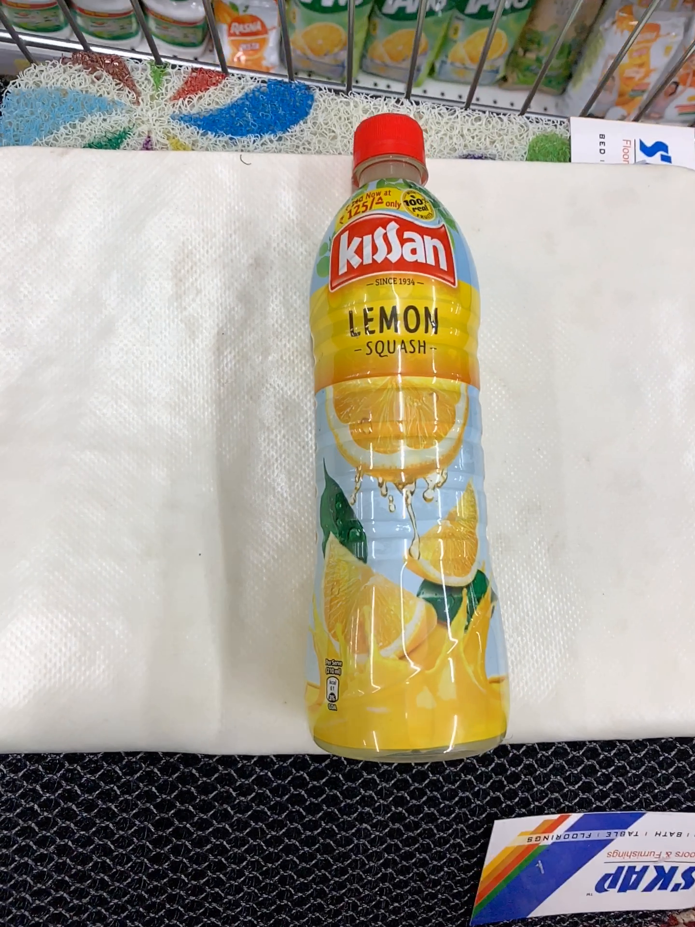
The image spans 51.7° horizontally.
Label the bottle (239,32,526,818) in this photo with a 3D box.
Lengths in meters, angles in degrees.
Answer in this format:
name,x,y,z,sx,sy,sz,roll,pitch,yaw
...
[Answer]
name,x,y,z,sx,sy,sz,roll,pitch,yaw
bottle,0.005,-0.014,0.250,0.080,0.070,0.230,1,84,-12
